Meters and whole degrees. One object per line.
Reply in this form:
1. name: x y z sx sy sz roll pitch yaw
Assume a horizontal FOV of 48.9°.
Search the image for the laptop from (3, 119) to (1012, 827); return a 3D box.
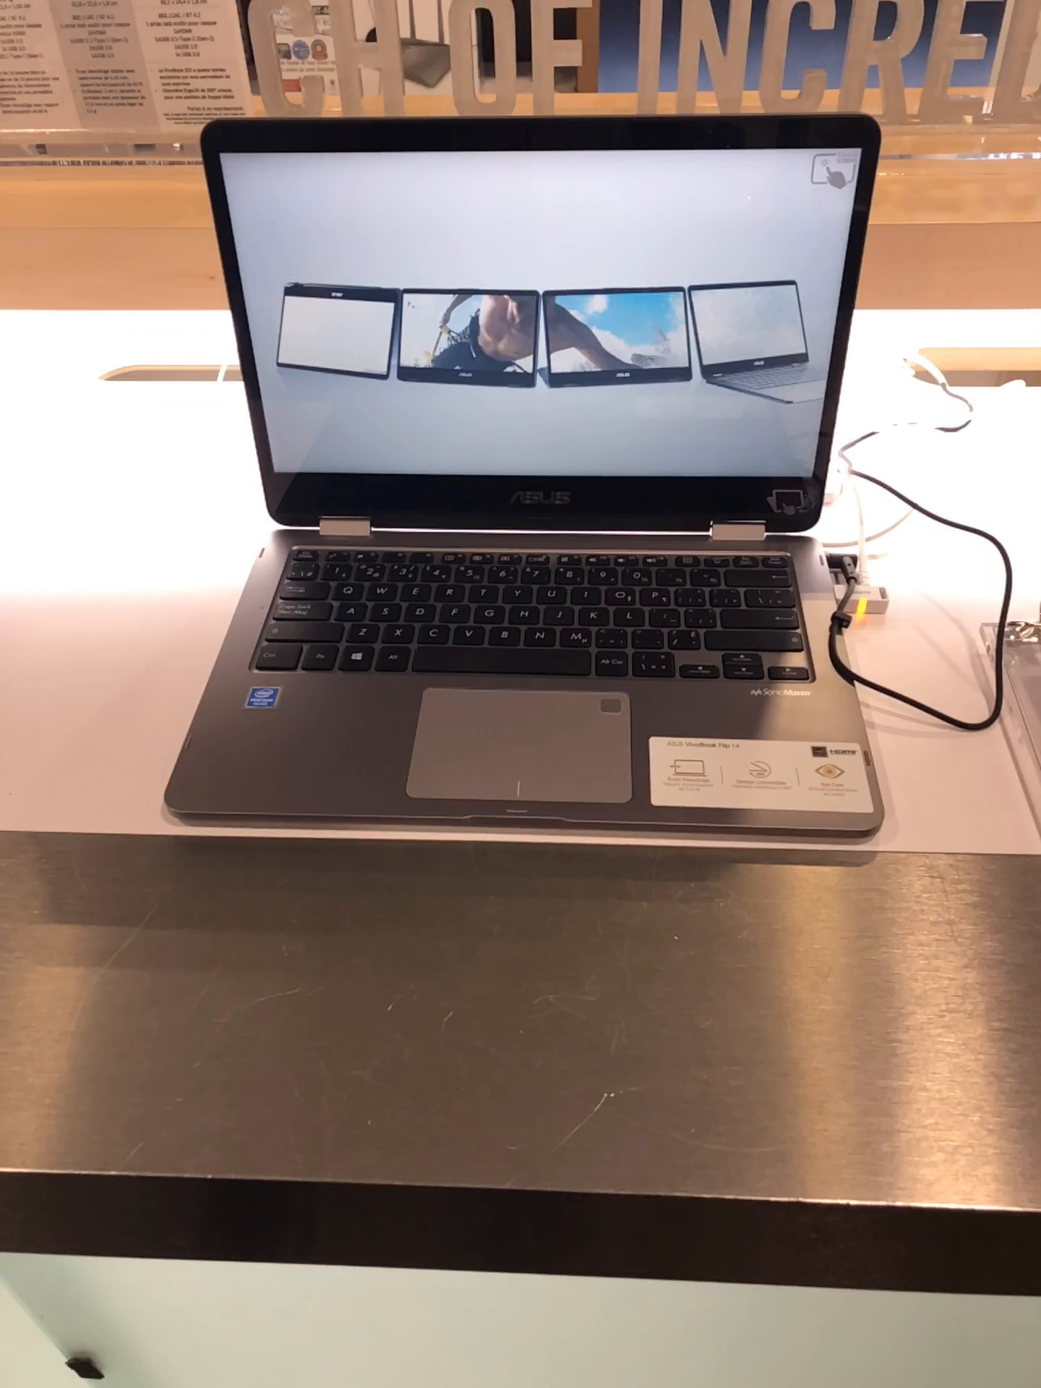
1. laptop: 0.001 -0.098 0.490 0.303 0.210 0.211 1 43 4
